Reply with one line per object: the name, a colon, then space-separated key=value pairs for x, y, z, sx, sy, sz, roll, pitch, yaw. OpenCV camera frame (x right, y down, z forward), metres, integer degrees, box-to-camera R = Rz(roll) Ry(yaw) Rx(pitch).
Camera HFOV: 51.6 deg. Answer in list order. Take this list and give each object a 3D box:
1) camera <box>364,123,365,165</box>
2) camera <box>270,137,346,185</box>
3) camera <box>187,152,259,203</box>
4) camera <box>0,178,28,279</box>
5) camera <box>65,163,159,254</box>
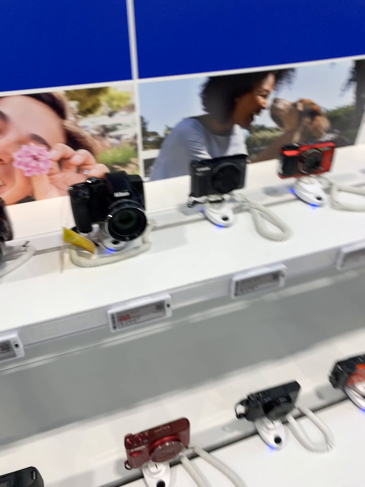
camera: x=0.463 y=-0.216 z=0.818 sx=0.110 sy=0.060 sz=0.050 roll=-12 pitch=38 yaw=-14
camera: x=0.248 y=-0.165 z=0.753 sx=0.130 sy=0.060 sz=0.050 roll=-12 pitch=38 yaw=-14
camera: x=0.073 y=-0.123 z=0.702 sx=0.120 sy=0.060 sz=0.050 roll=-12 pitch=38 yaw=-14
camera: x=-0.308 y=-0.027 z=0.562 sx=0.130 sy=0.079 sz=0.111 roll=-12 pitch=38 yaw=-14
camera: x=-0.112 y=-0.060 z=0.599 sx=0.120 sy=0.079 sz=0.111 roll=-12 pitch=38 yaw=-14
